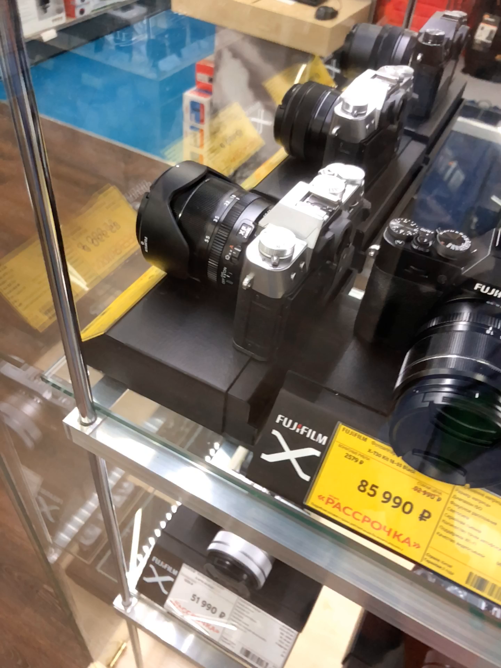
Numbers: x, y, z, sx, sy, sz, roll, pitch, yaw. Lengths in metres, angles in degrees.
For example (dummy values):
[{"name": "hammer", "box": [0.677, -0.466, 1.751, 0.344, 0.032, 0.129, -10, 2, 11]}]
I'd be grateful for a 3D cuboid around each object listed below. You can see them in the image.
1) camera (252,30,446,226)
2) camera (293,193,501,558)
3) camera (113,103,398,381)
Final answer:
[{"name": "camera", "box": [0.083, -0.179, 0.473, 0.104, 0.088, 0.135, 25, 49, 16]}, {"name": "camera", "box": [0.119, 0.014, 0.300, 0.144, 0.088, 0.123, 24, 49, 15]}, {"name": "camera", "box": [0.005, -0.064, 0.350, 0.120, 0.088, 0.121, 25, 49, 16]}]
